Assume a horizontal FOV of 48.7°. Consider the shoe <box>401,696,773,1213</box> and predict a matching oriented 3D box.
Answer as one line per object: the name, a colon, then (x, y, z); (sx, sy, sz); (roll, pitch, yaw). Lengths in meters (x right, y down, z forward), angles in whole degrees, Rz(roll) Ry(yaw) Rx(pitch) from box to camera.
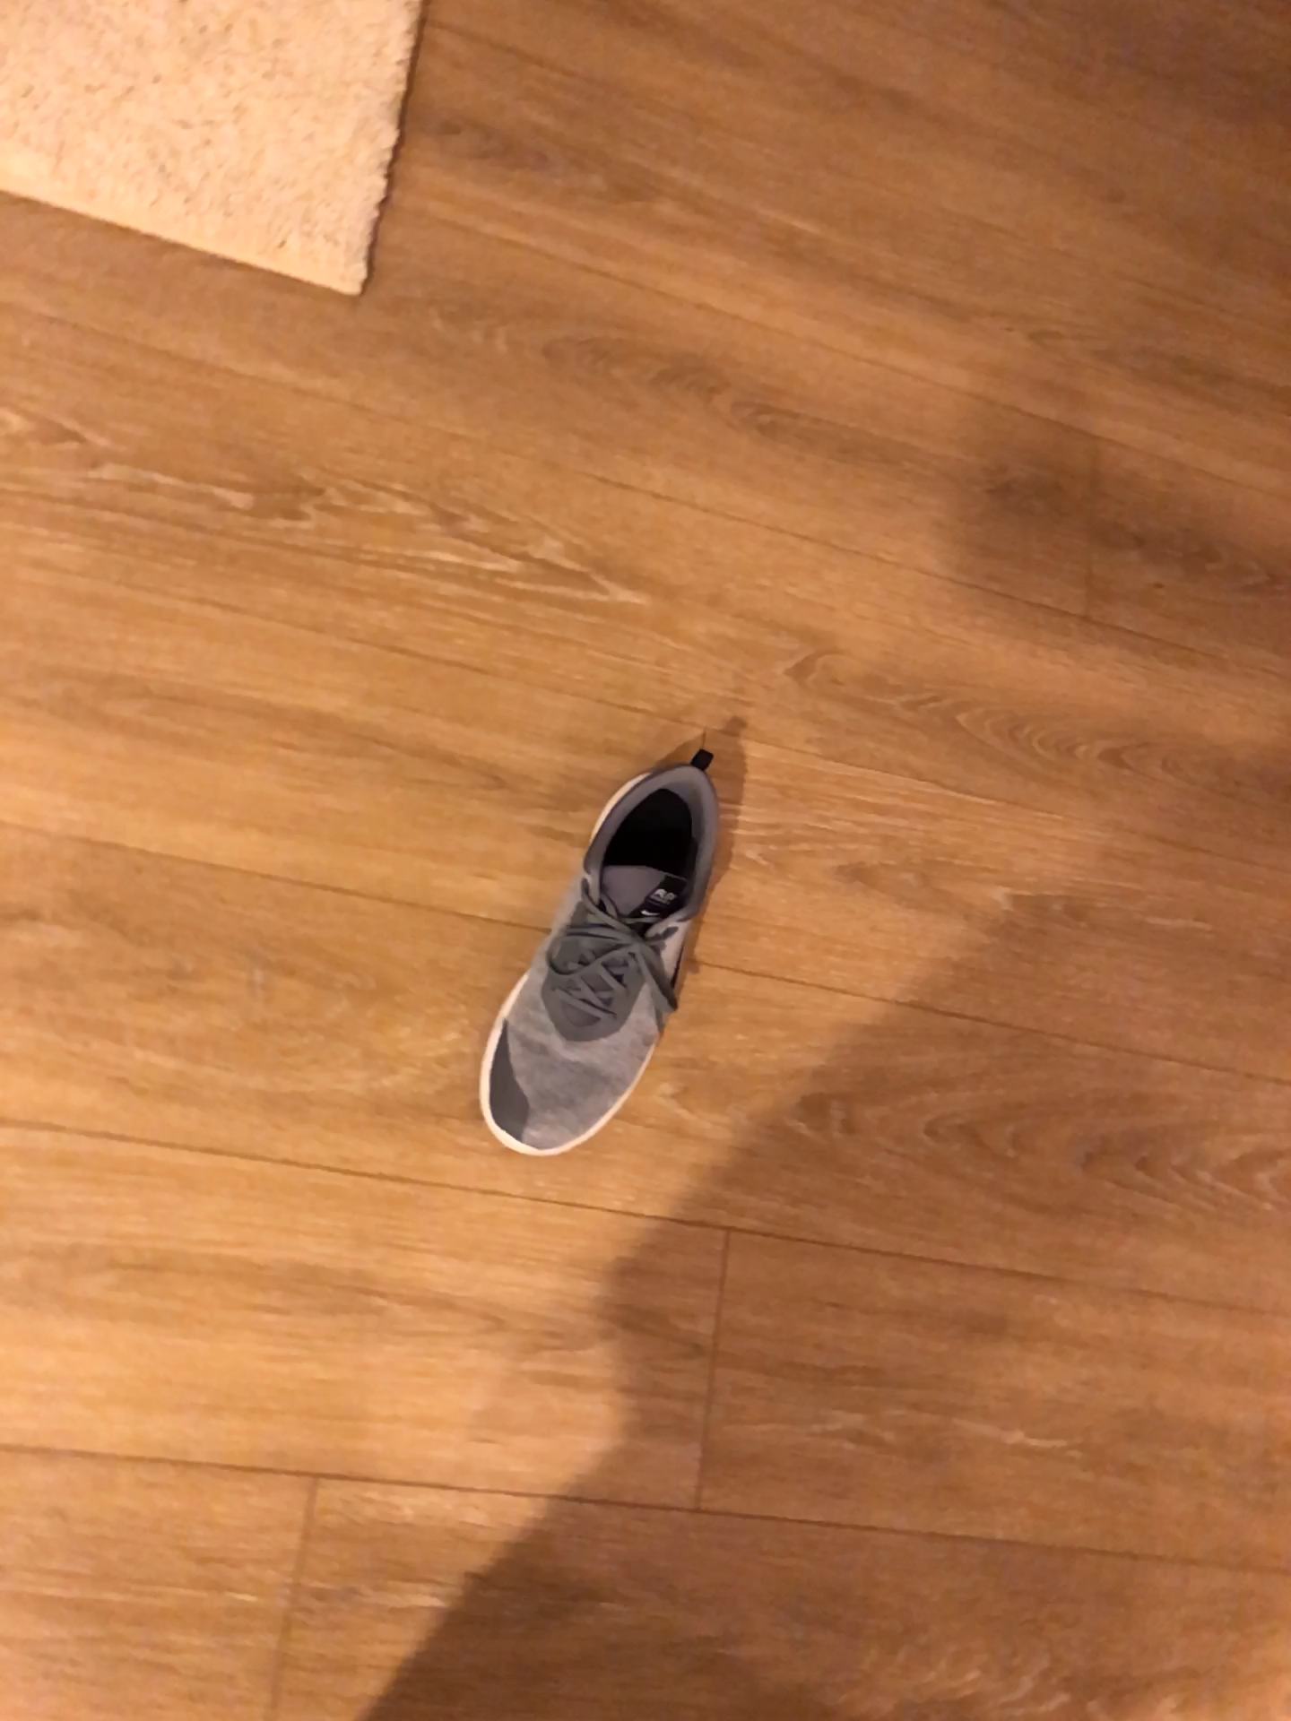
shoe: (-0.036, 0.064, 0.991); (0.140, 0.080, 0.321); (25, 69, -11)
